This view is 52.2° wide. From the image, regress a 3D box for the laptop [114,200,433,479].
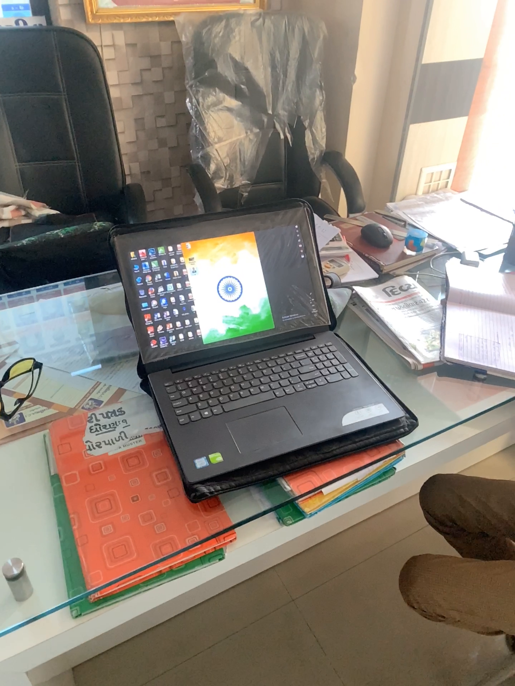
[{"bbox_3d":[-0.007,-0.042,0.816,0.334,0.175,0.392,-13,40,-18],"label":"laptop"}]
